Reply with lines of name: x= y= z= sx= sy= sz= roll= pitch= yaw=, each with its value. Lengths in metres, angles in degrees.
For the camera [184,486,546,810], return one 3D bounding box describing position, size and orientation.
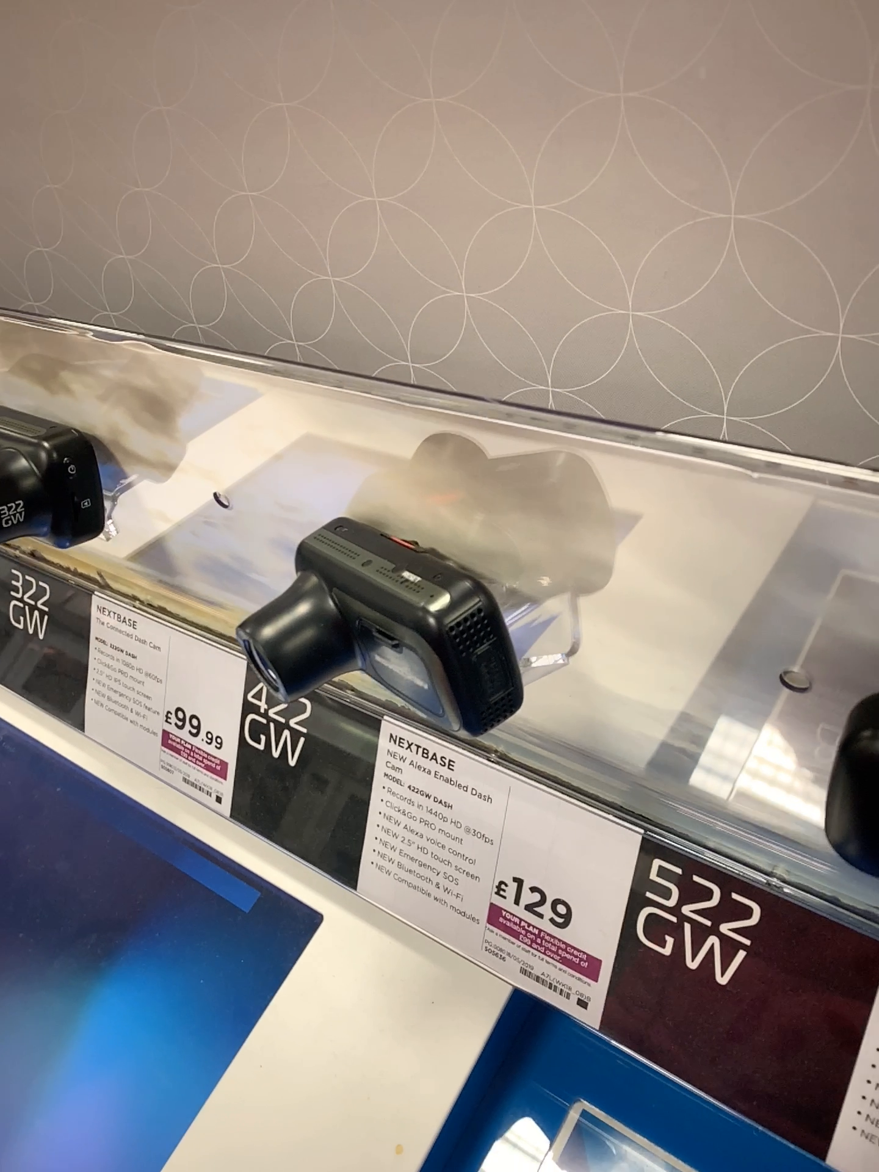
camera: x=-0.023 y=0.010 z=0.246 sx=0.050 sy=0.040 sz=0.091 roll=-32 pitch=33 yaw=-23
